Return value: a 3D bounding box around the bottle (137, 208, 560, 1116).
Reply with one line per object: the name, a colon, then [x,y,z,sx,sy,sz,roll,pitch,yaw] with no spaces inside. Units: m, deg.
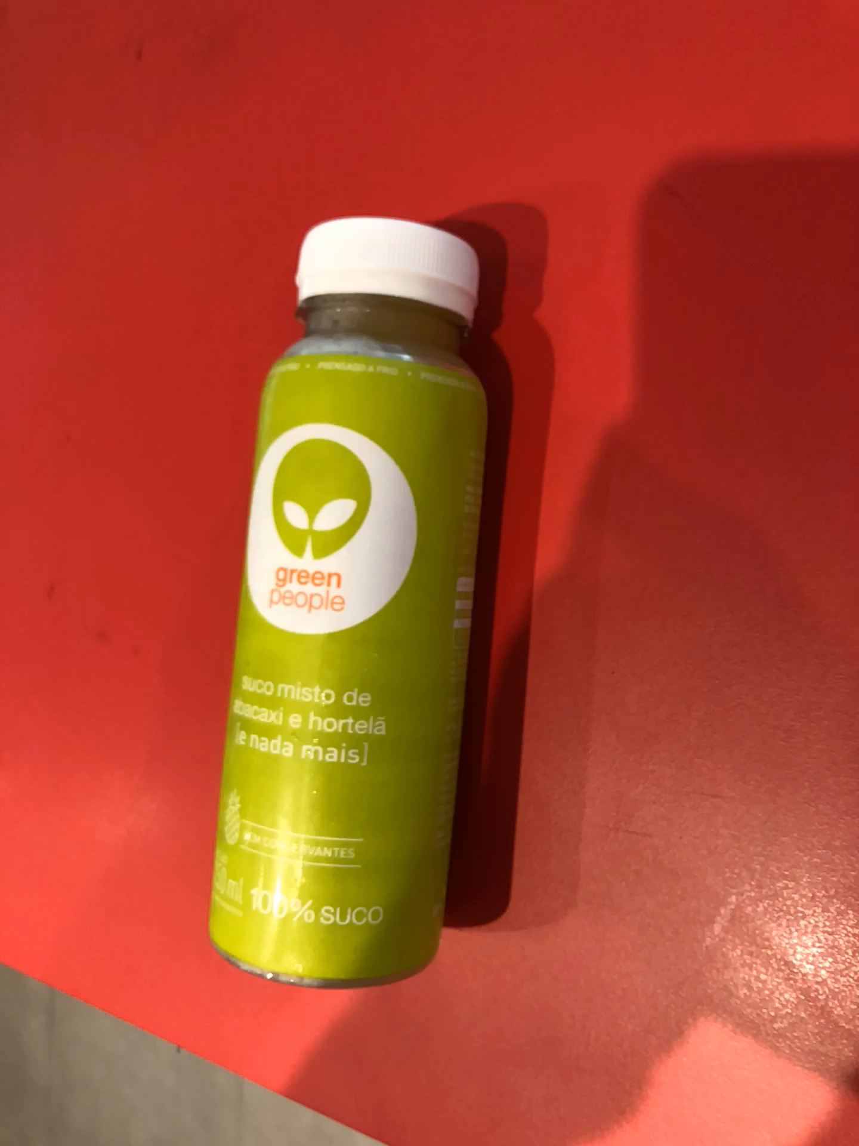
bottle: [-0.017,0.015,0.212,0.060,0.050,0.170,9,97,21]
